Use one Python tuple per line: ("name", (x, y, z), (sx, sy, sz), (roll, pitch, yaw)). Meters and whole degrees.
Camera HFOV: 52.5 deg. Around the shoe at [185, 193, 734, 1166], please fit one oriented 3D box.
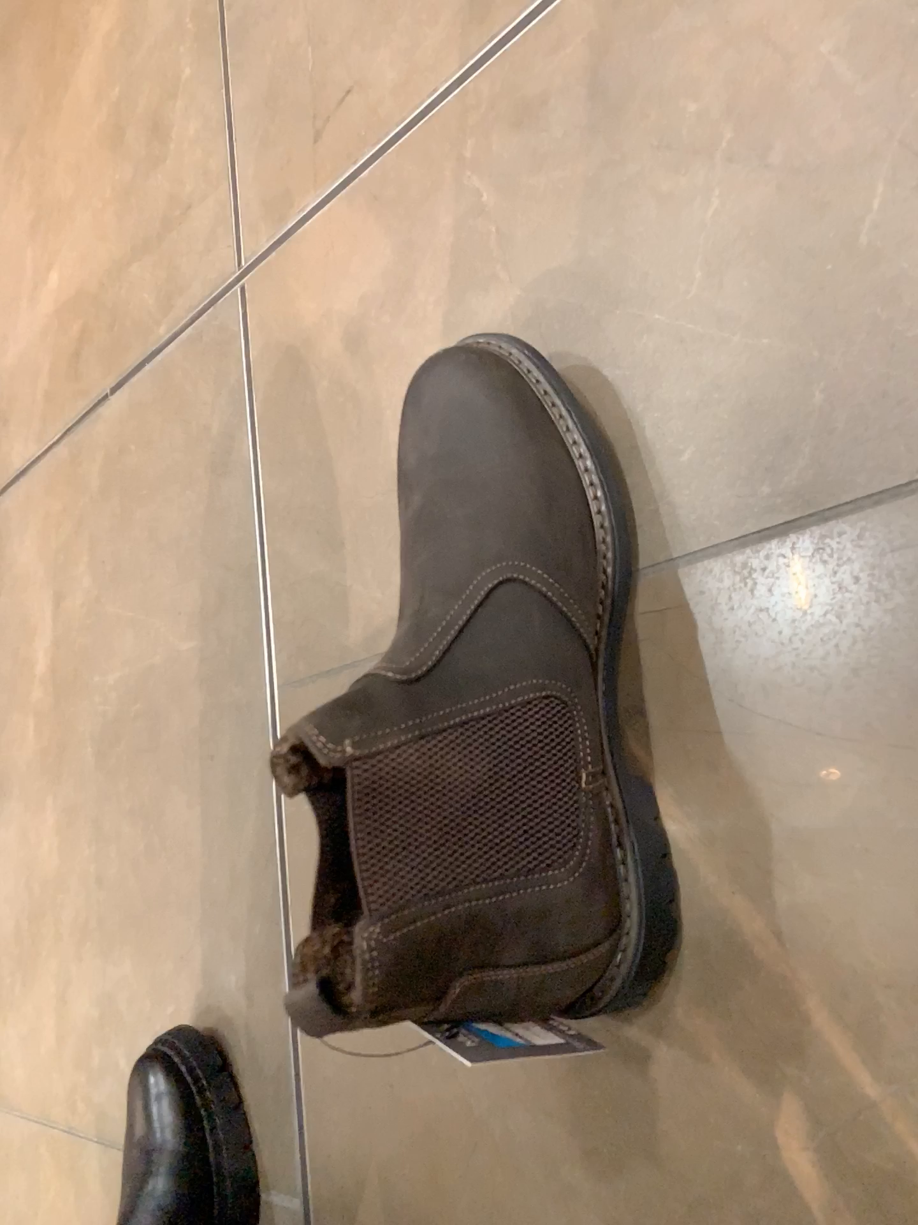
("shoe", (-0.004, 0.022, 0.384), (0.114, 0.165, 0.304), (-18, 73, 43))
